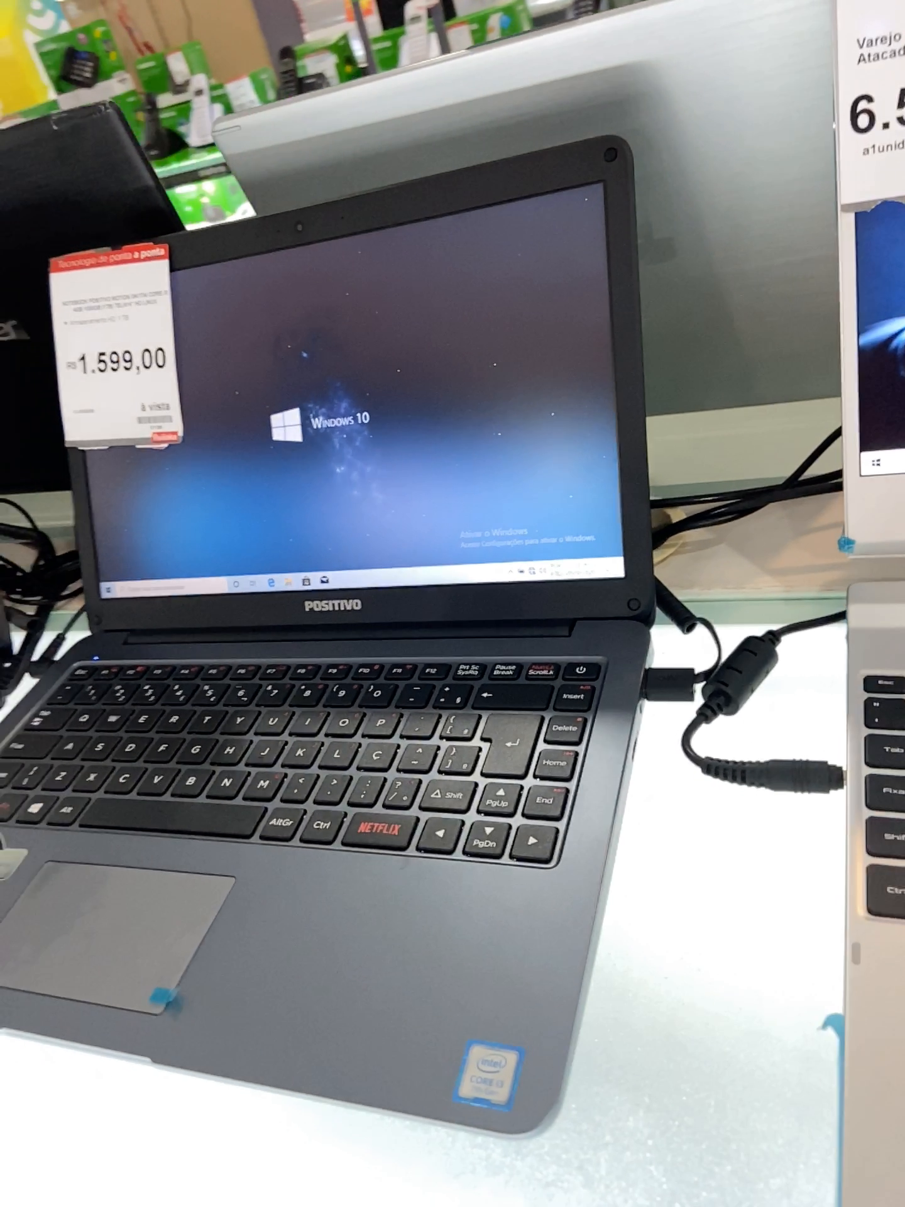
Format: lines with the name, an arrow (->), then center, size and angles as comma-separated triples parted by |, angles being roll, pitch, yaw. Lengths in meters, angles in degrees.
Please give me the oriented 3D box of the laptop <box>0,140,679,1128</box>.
laptop -> -0.100, -0.023, 0.381 | 0.319, 0.171, 0.325 | -2, 36, 23
